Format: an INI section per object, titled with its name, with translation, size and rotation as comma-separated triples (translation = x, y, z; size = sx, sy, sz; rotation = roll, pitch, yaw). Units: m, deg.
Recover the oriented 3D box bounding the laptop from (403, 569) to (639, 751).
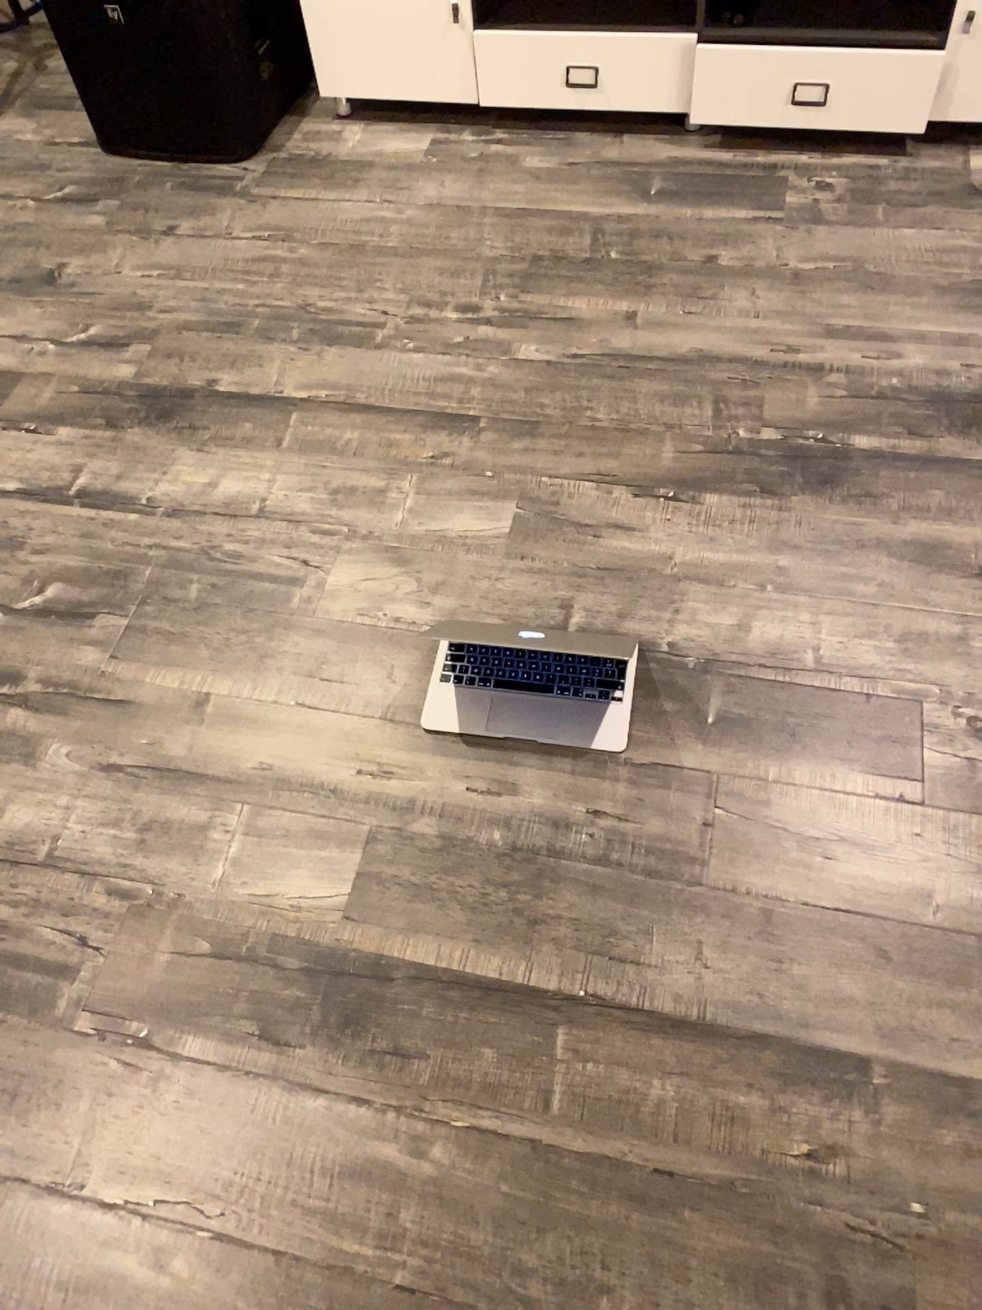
[laptop]
translation = 0.049, 0.005, 1.386
size = 0.292, 0.132, 0.193
rotation = 4, 54, 10
